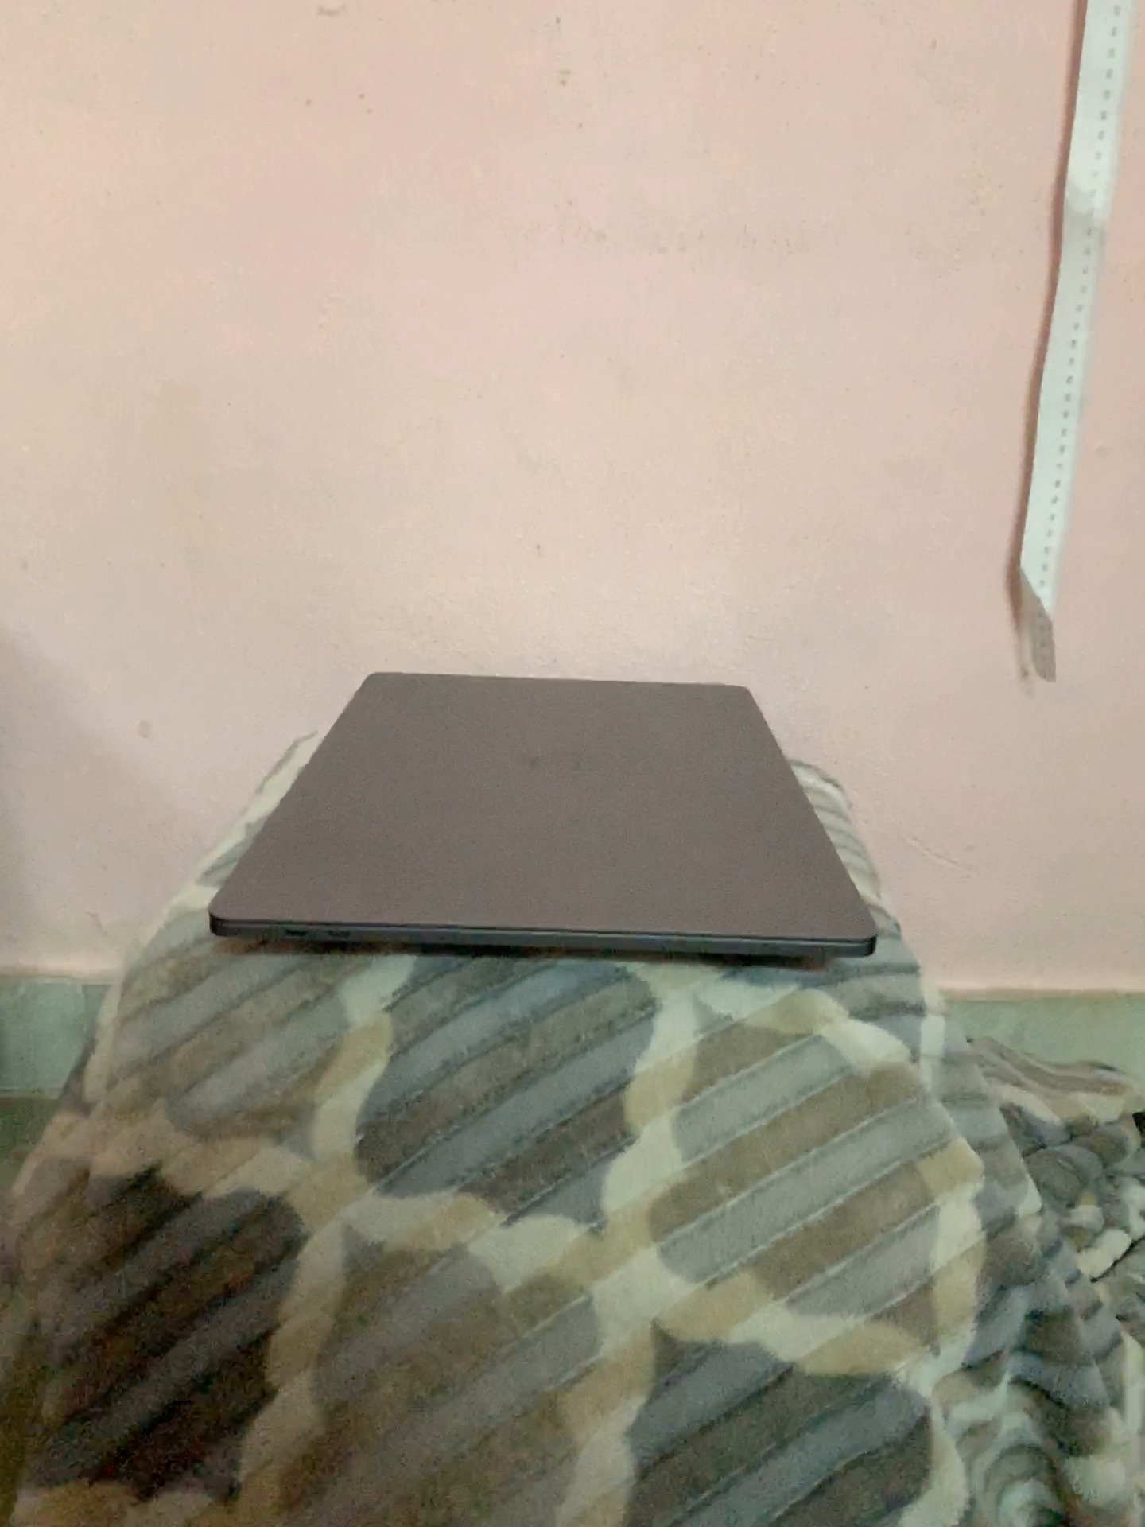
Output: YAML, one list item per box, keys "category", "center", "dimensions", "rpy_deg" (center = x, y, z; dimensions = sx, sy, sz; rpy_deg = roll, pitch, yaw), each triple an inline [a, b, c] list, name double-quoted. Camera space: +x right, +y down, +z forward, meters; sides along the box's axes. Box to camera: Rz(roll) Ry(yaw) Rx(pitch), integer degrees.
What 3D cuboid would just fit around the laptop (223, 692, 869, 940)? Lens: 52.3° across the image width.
- category: "laptop"
  center: [-0.007, 0.009, 0.566]
  dimensions: [0.228, 0.002, 0.327]
  rpy_deg: [1, 17, 1]
